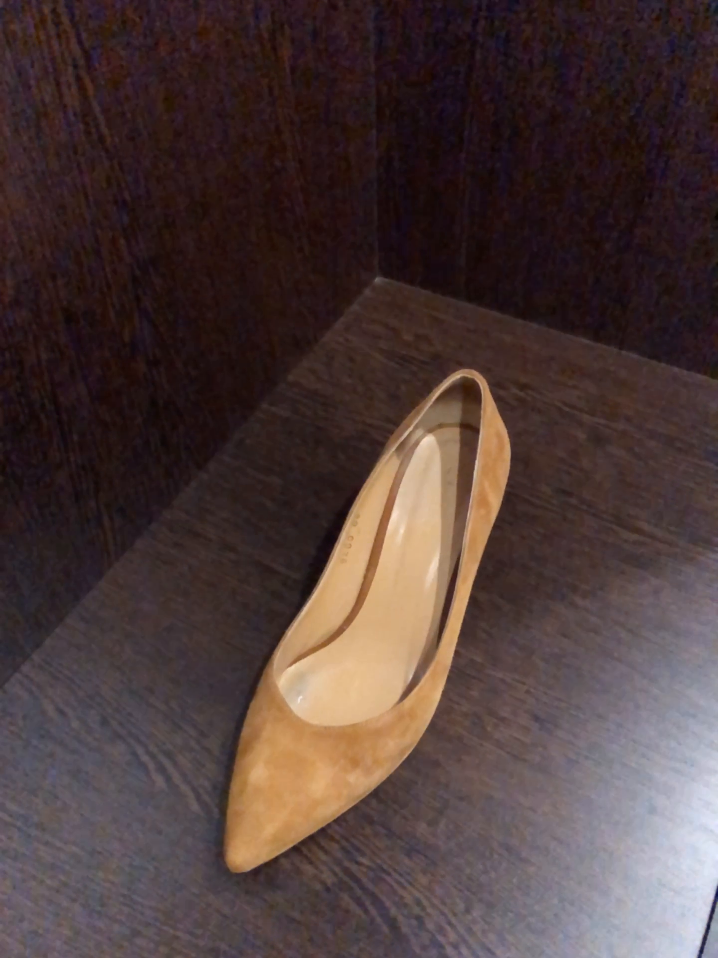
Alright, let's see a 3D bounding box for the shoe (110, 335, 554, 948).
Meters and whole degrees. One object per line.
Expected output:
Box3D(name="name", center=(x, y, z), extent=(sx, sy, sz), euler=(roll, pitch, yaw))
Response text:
Box3D(name="shoe", center=(0.008, 0.059, 0.392), extent=(0.090, 0.100, 0.271), euler=(18, 52, 18))
